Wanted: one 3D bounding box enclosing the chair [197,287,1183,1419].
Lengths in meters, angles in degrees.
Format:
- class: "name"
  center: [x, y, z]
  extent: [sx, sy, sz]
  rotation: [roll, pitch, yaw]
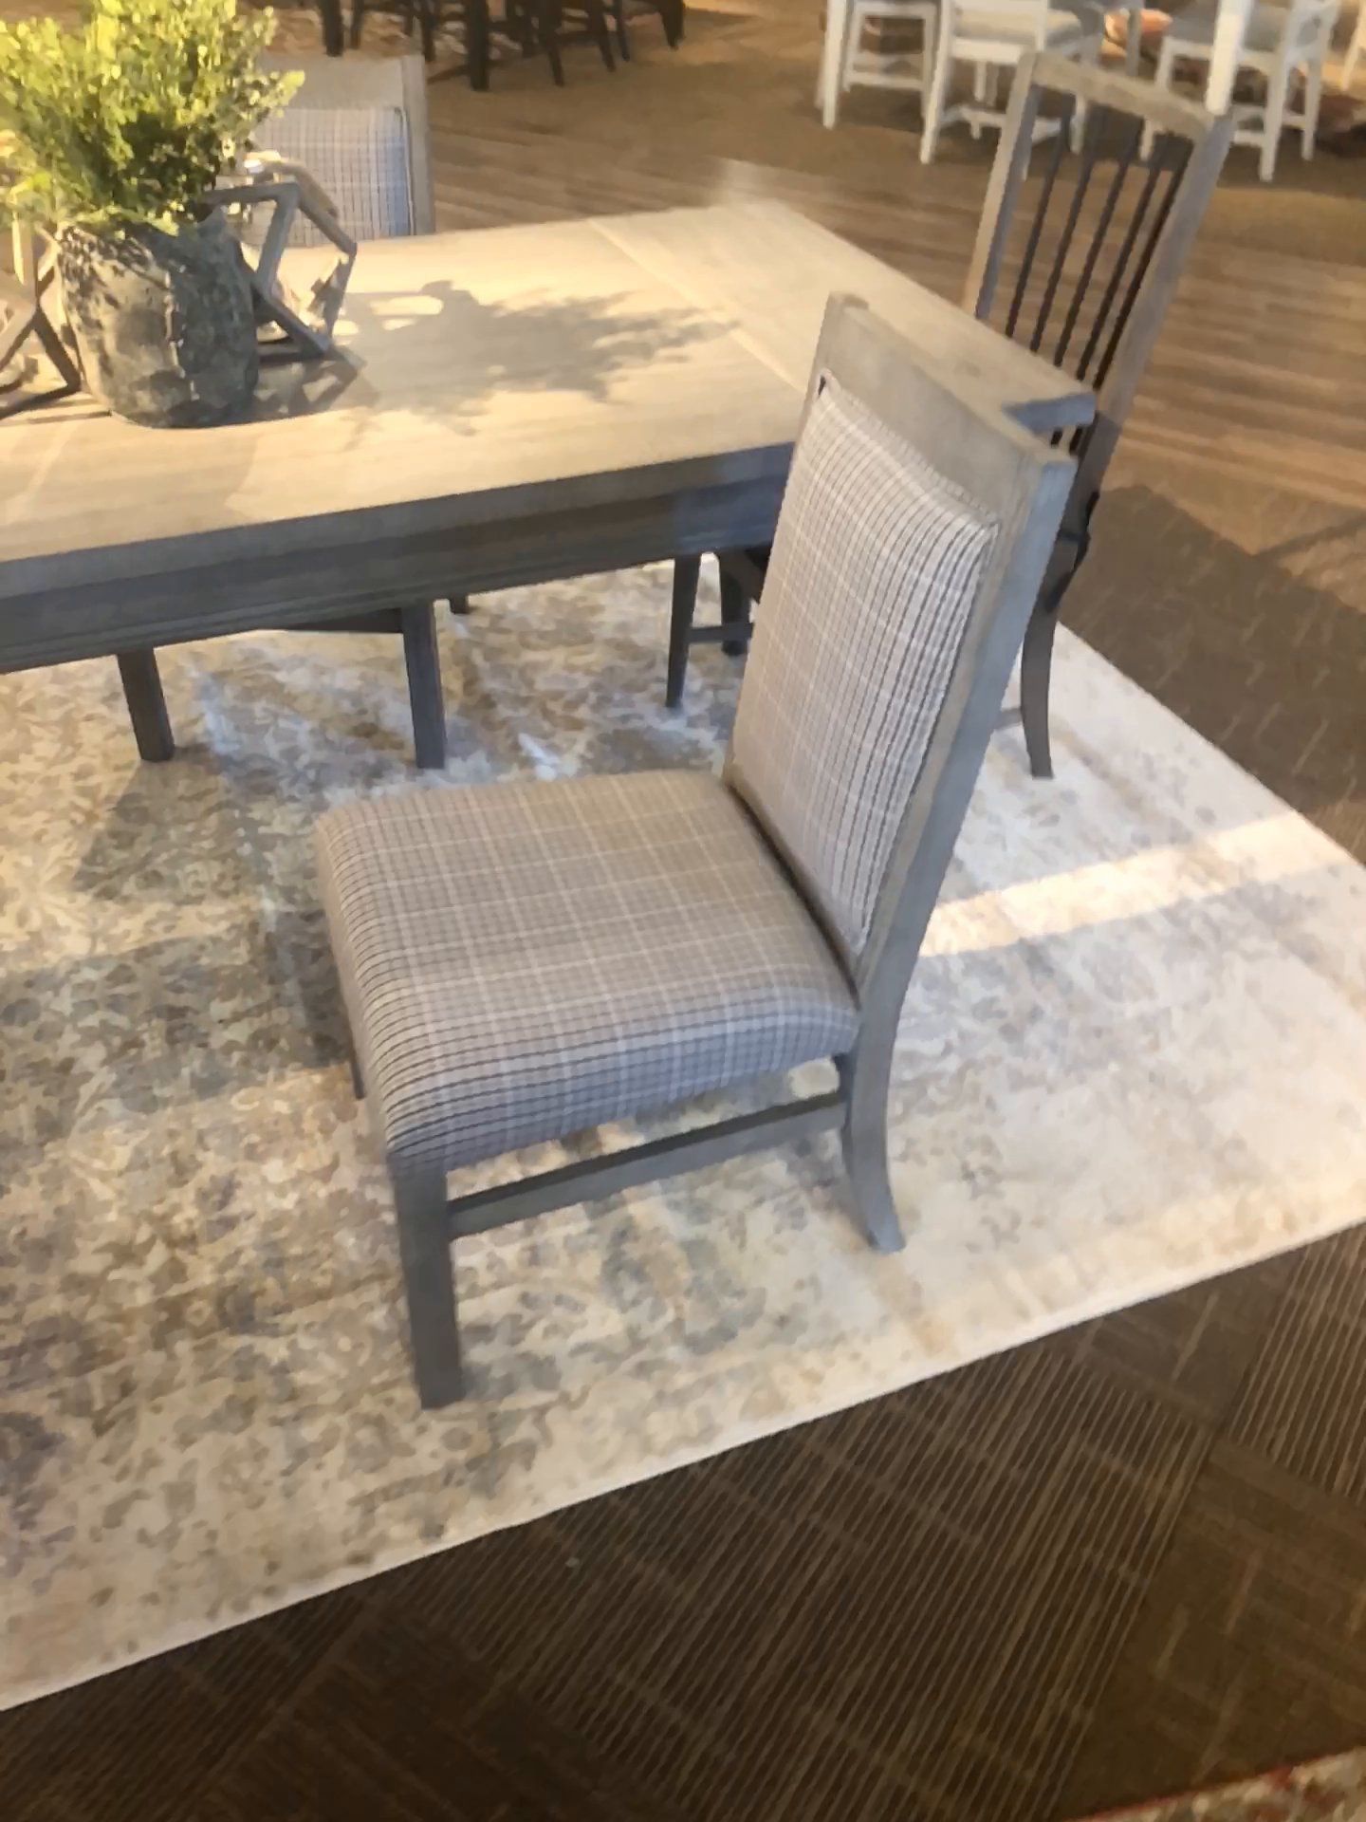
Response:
- class: "chair"
  center: [-0.034, -0.056, 1.458]
  extent: [0.661, 0.866, 0.512]
  rotation: [-11, 40, -14]
